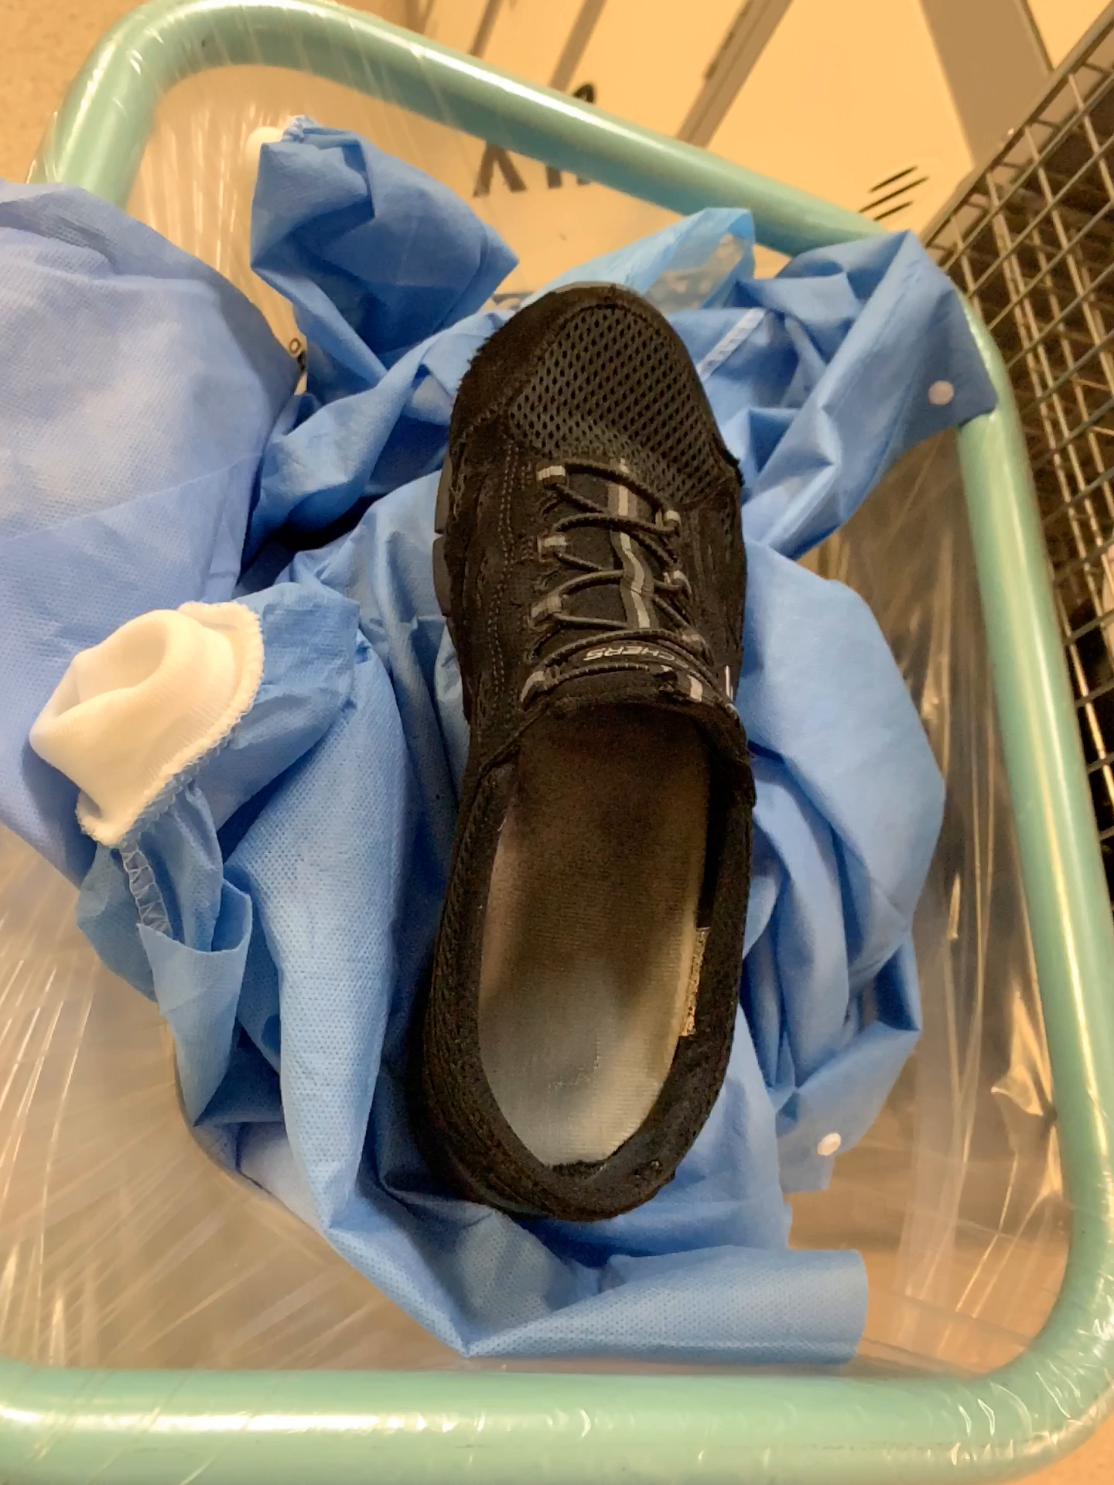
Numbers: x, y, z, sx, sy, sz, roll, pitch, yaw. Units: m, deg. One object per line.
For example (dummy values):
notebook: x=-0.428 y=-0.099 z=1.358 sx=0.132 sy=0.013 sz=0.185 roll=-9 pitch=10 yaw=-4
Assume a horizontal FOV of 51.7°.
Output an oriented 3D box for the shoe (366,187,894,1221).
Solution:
shoe: x=0.011 y=-0.009 z=0.312 sx=0.088 sy=0.094 sz=0.255 roll=9 pitch=65 yaw=-20
